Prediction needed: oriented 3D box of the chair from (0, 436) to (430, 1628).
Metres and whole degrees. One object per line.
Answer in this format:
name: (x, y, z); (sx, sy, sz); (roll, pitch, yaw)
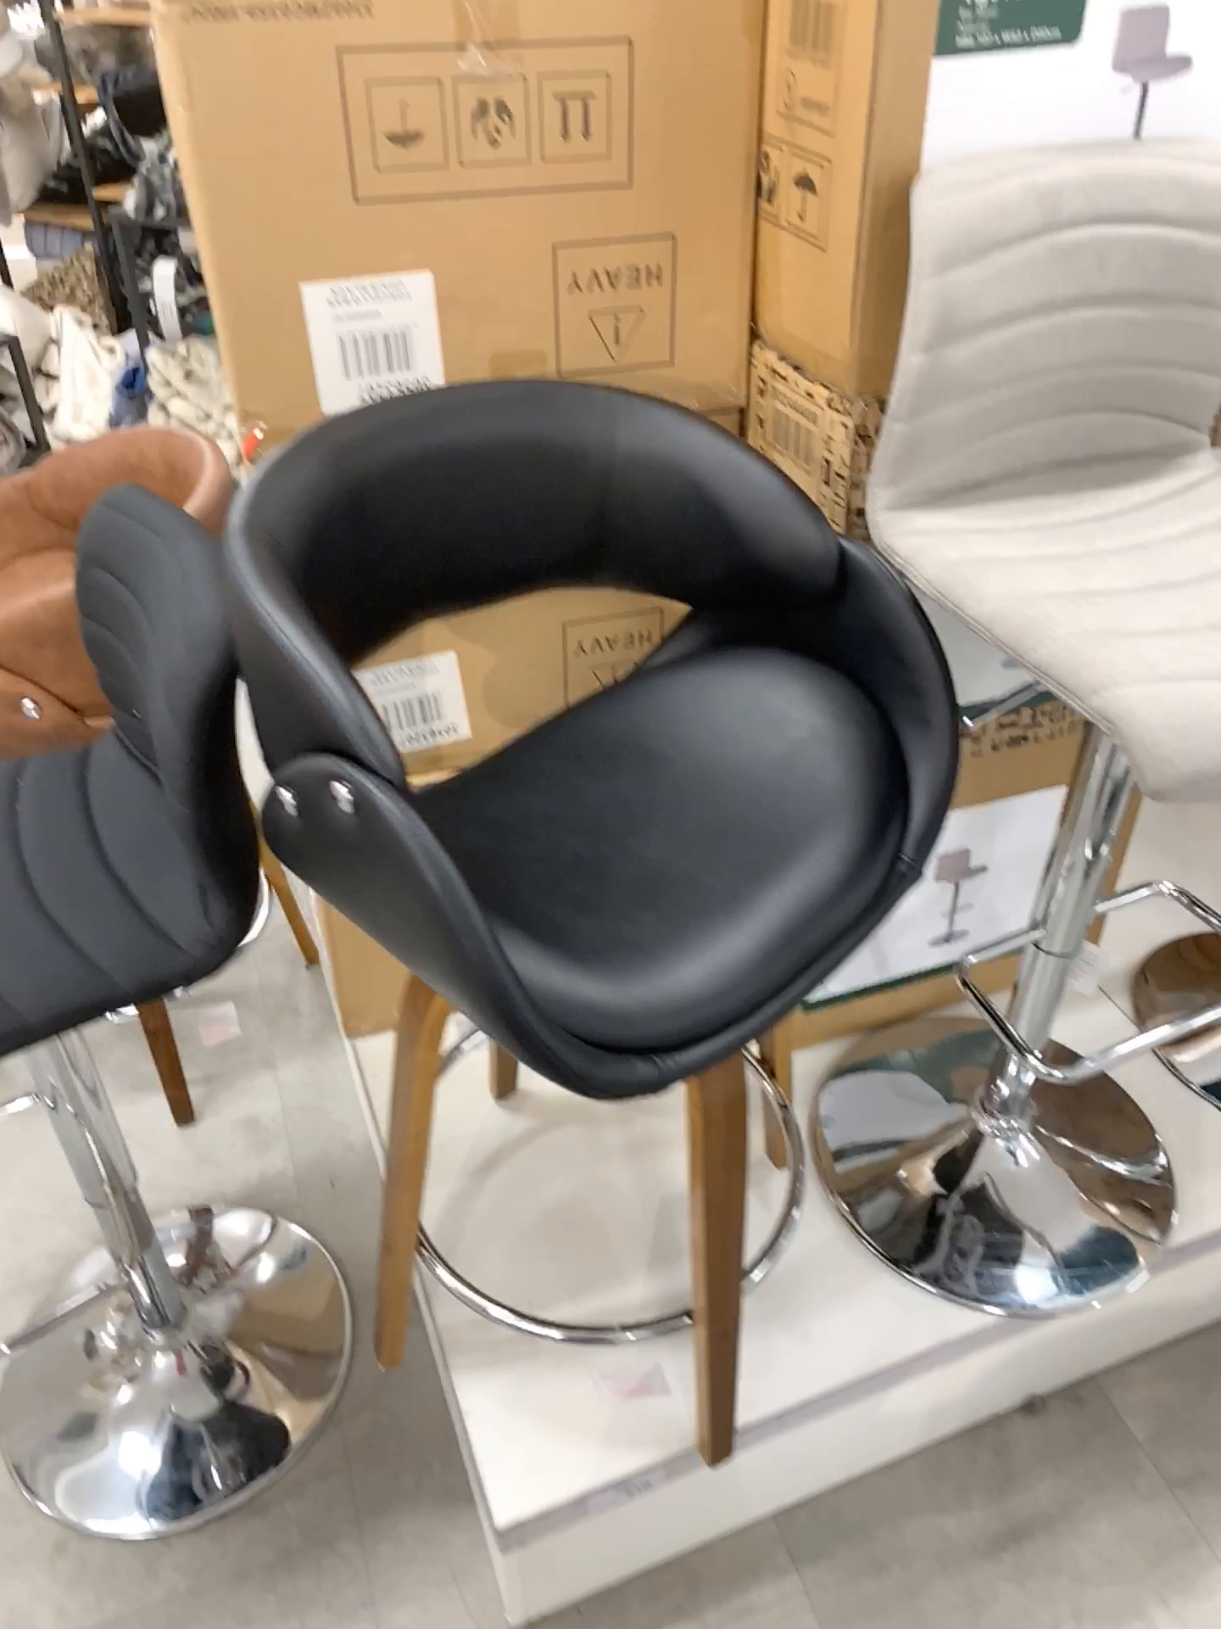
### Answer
chair: (-0.540, 0.235, 1.240); (0.467, 1.016, 0.488); (-17, 37, -22)

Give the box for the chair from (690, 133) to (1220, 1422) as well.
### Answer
chair: (0.392, -0.005, 1.080); (0.435, 0.966, 0.440); (-12, 39, -19)

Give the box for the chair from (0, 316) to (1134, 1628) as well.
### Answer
chair: (-0.008, 0.136, 1.133); (0.549, 0.897, 0.568); (27, 48, 31)
